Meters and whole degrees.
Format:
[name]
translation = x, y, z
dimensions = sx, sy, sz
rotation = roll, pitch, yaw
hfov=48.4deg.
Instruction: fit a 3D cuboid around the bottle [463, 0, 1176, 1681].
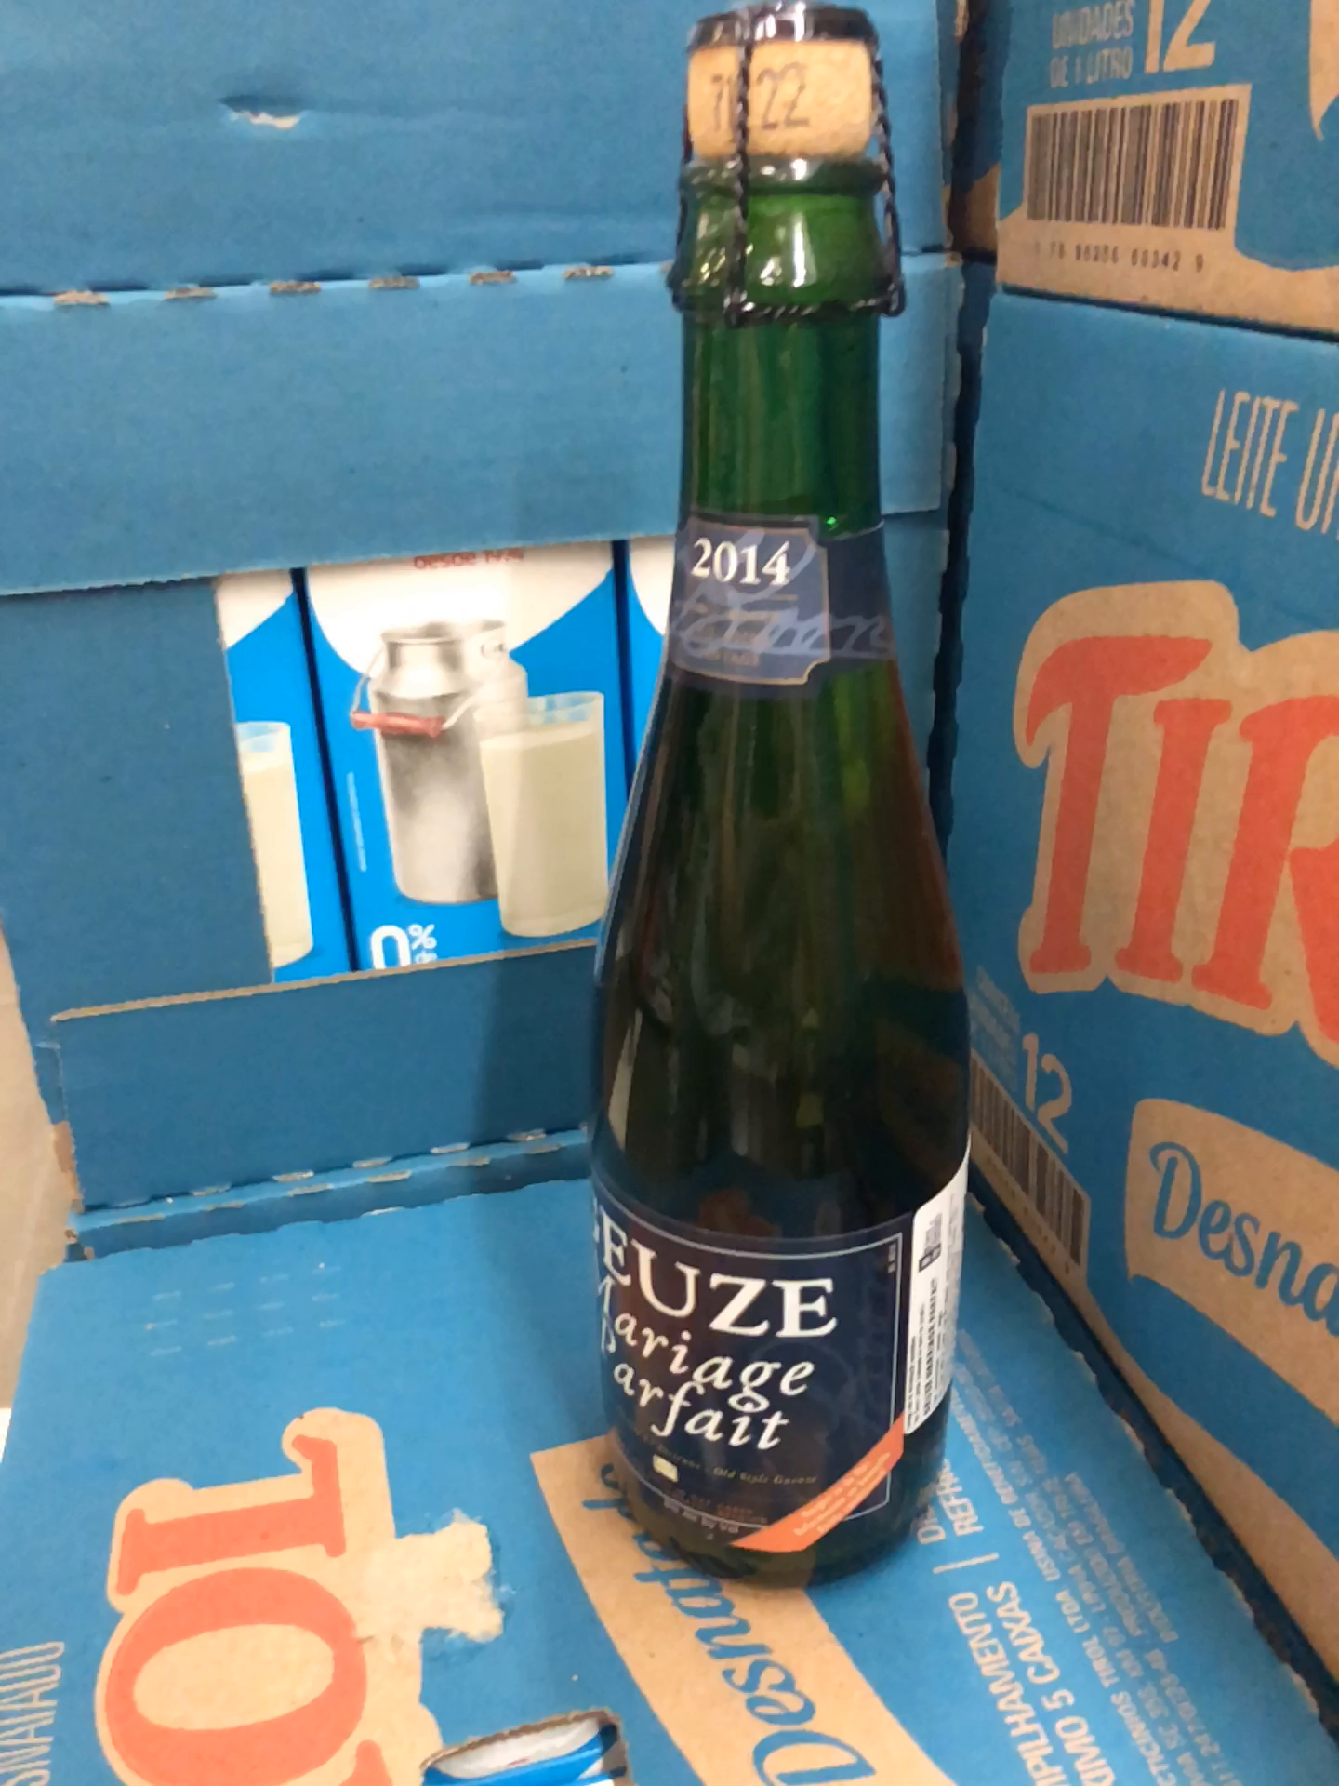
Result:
[bottle]
translation = 0.021, 0.004, 0.247
dimensions = 0.070, 0.258, 0.060
rotation = 17, 31, 32
